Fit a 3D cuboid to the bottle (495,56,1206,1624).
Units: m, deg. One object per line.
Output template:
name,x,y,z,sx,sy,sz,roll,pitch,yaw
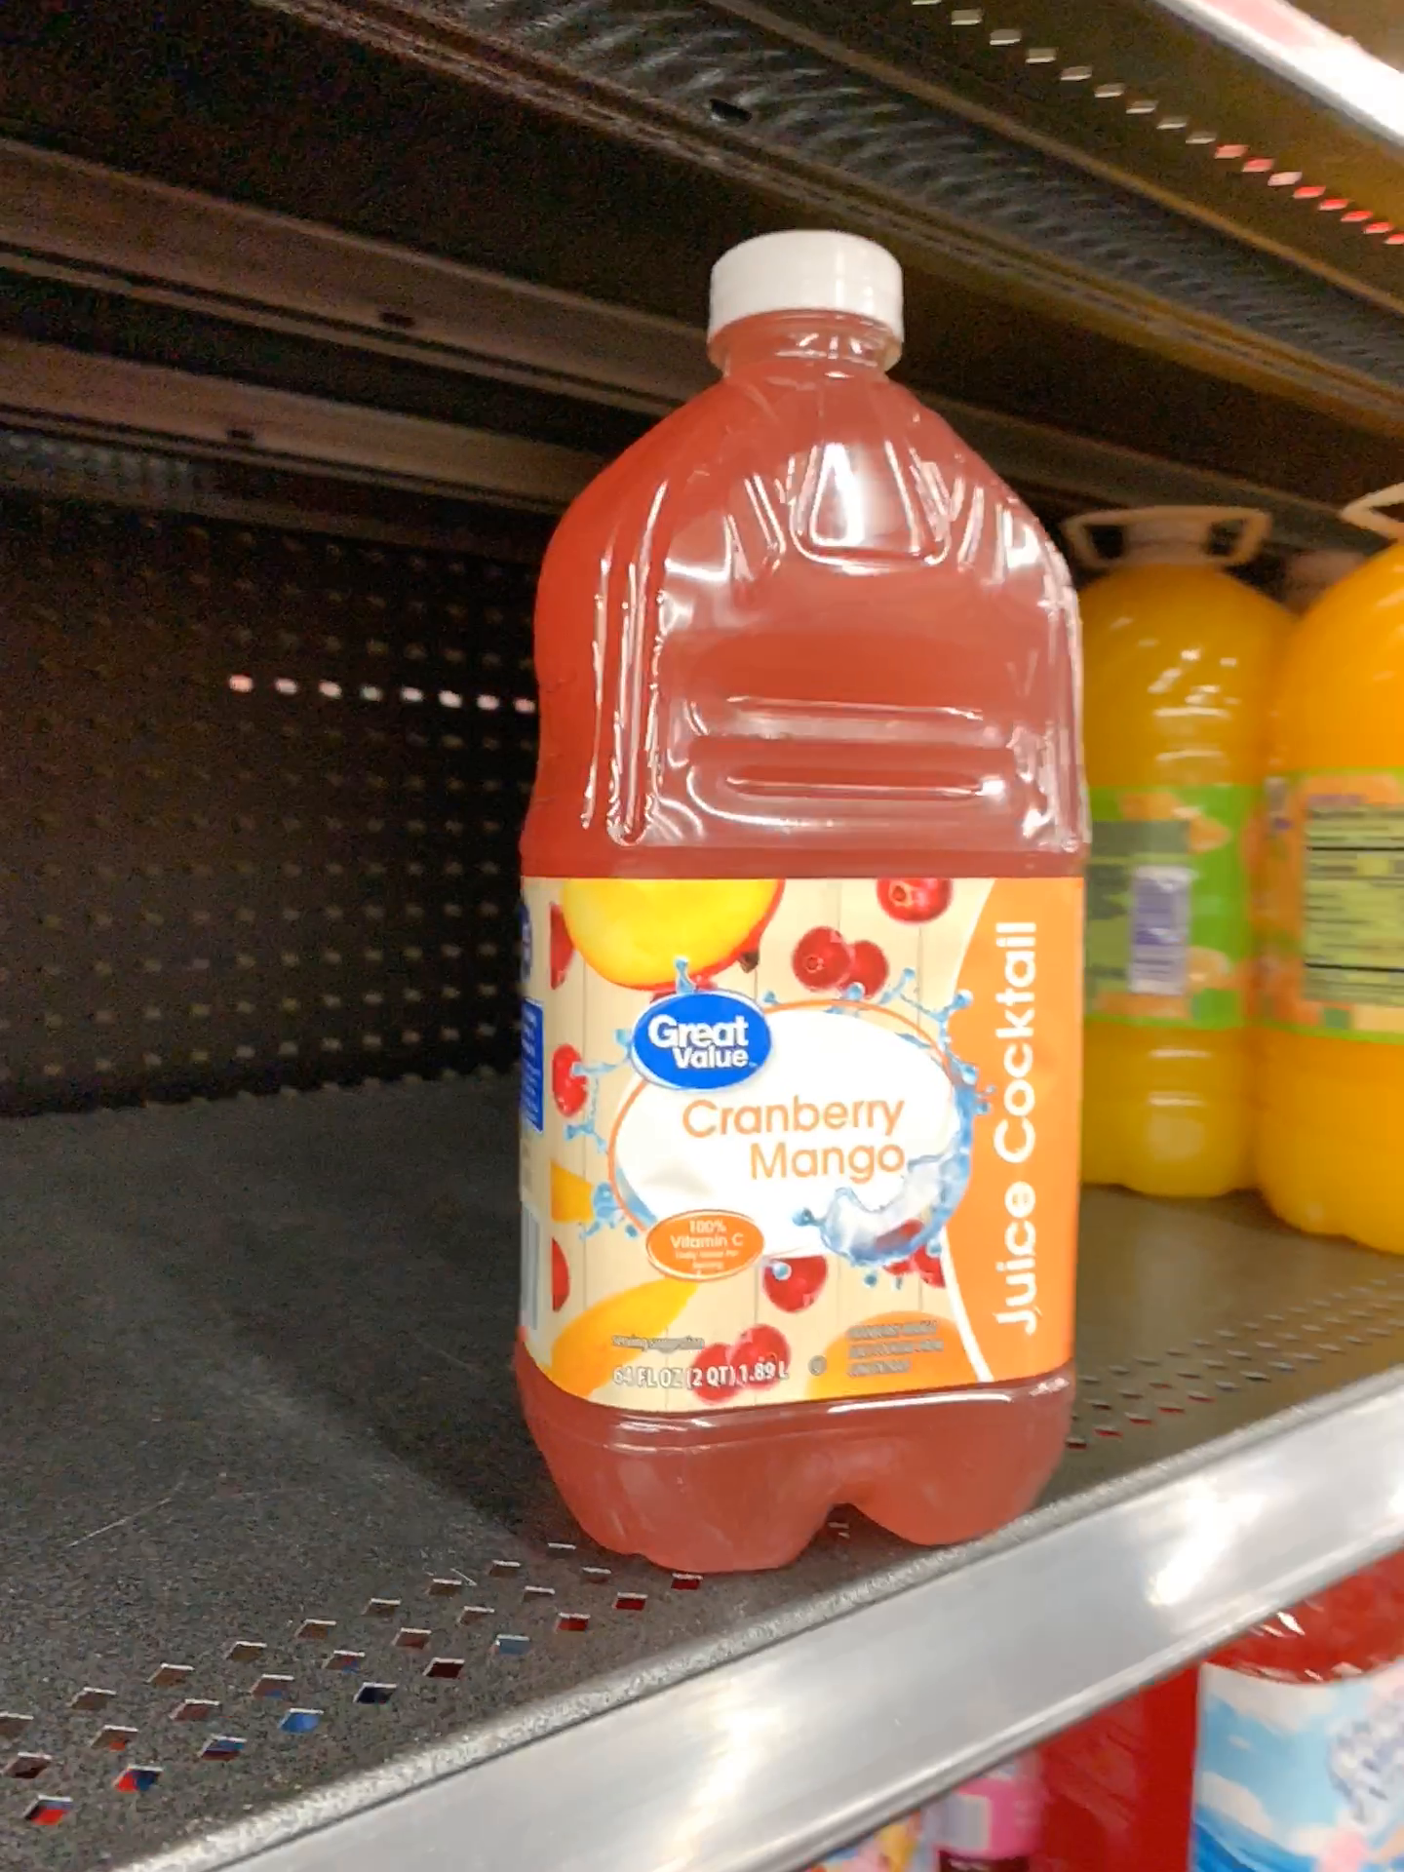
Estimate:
bottle,0.022,-0.016,0.318,0.119,0.272,0.101,0,5,-15
